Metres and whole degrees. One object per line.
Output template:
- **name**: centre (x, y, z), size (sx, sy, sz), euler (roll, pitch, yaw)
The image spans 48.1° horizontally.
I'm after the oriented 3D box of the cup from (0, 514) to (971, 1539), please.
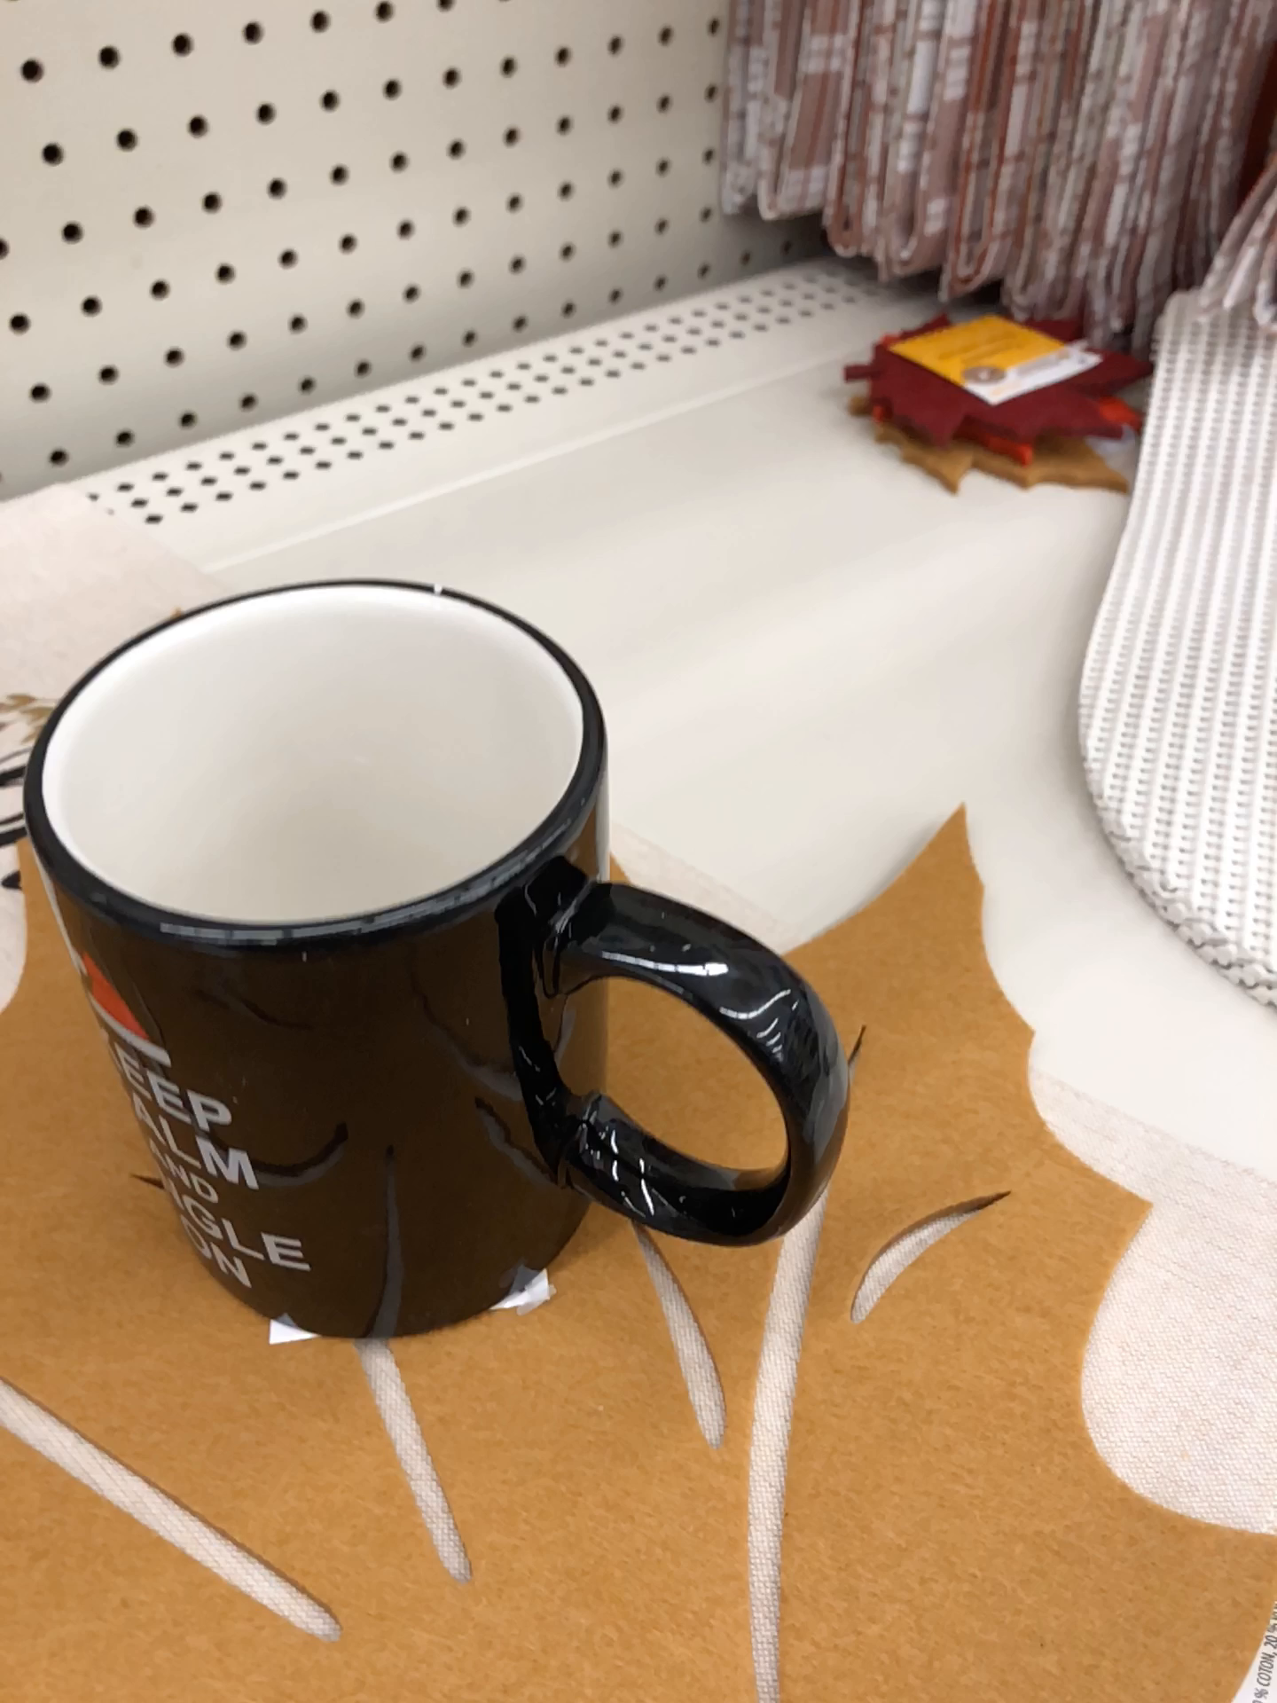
- **cup**: centre (-0.027, 0.026, 0.248), size (0.130, 0.110, 0.090), euler (18, 46, 18)
